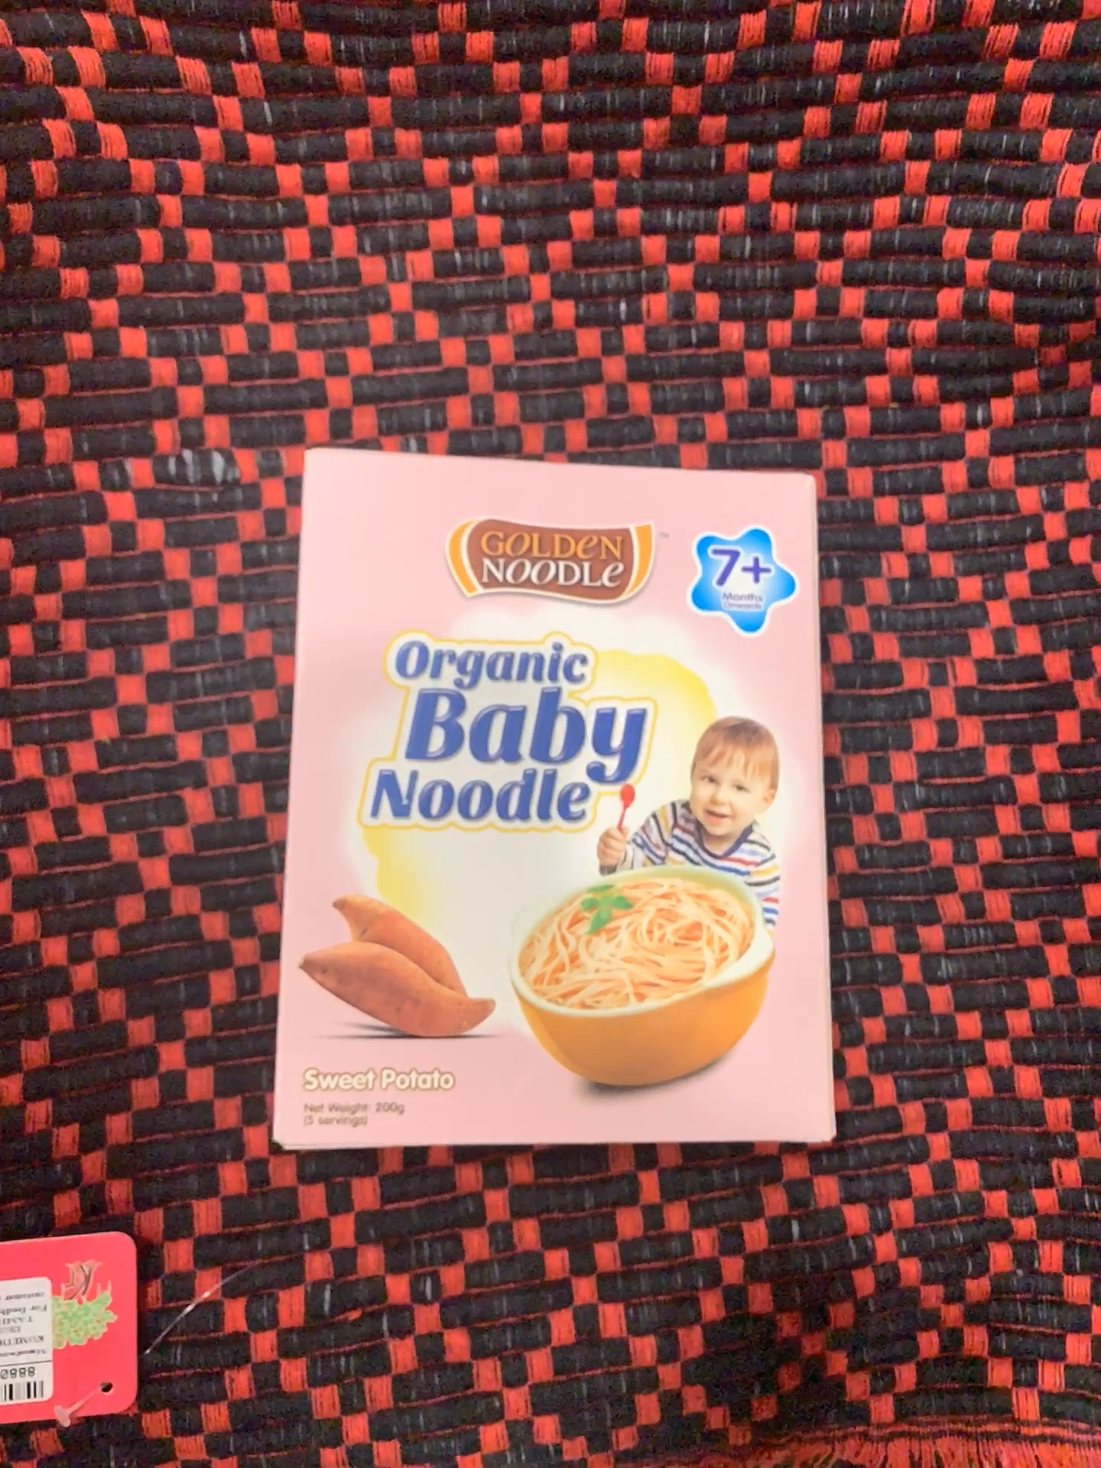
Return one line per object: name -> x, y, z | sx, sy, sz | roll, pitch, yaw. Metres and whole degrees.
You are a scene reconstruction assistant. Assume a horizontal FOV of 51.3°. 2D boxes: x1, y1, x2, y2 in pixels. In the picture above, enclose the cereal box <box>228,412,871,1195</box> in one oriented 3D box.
cereal box -> 0.000, 0.015, 0.265 | 0.130, 0.050, 0.160 | 1, 83, -5
